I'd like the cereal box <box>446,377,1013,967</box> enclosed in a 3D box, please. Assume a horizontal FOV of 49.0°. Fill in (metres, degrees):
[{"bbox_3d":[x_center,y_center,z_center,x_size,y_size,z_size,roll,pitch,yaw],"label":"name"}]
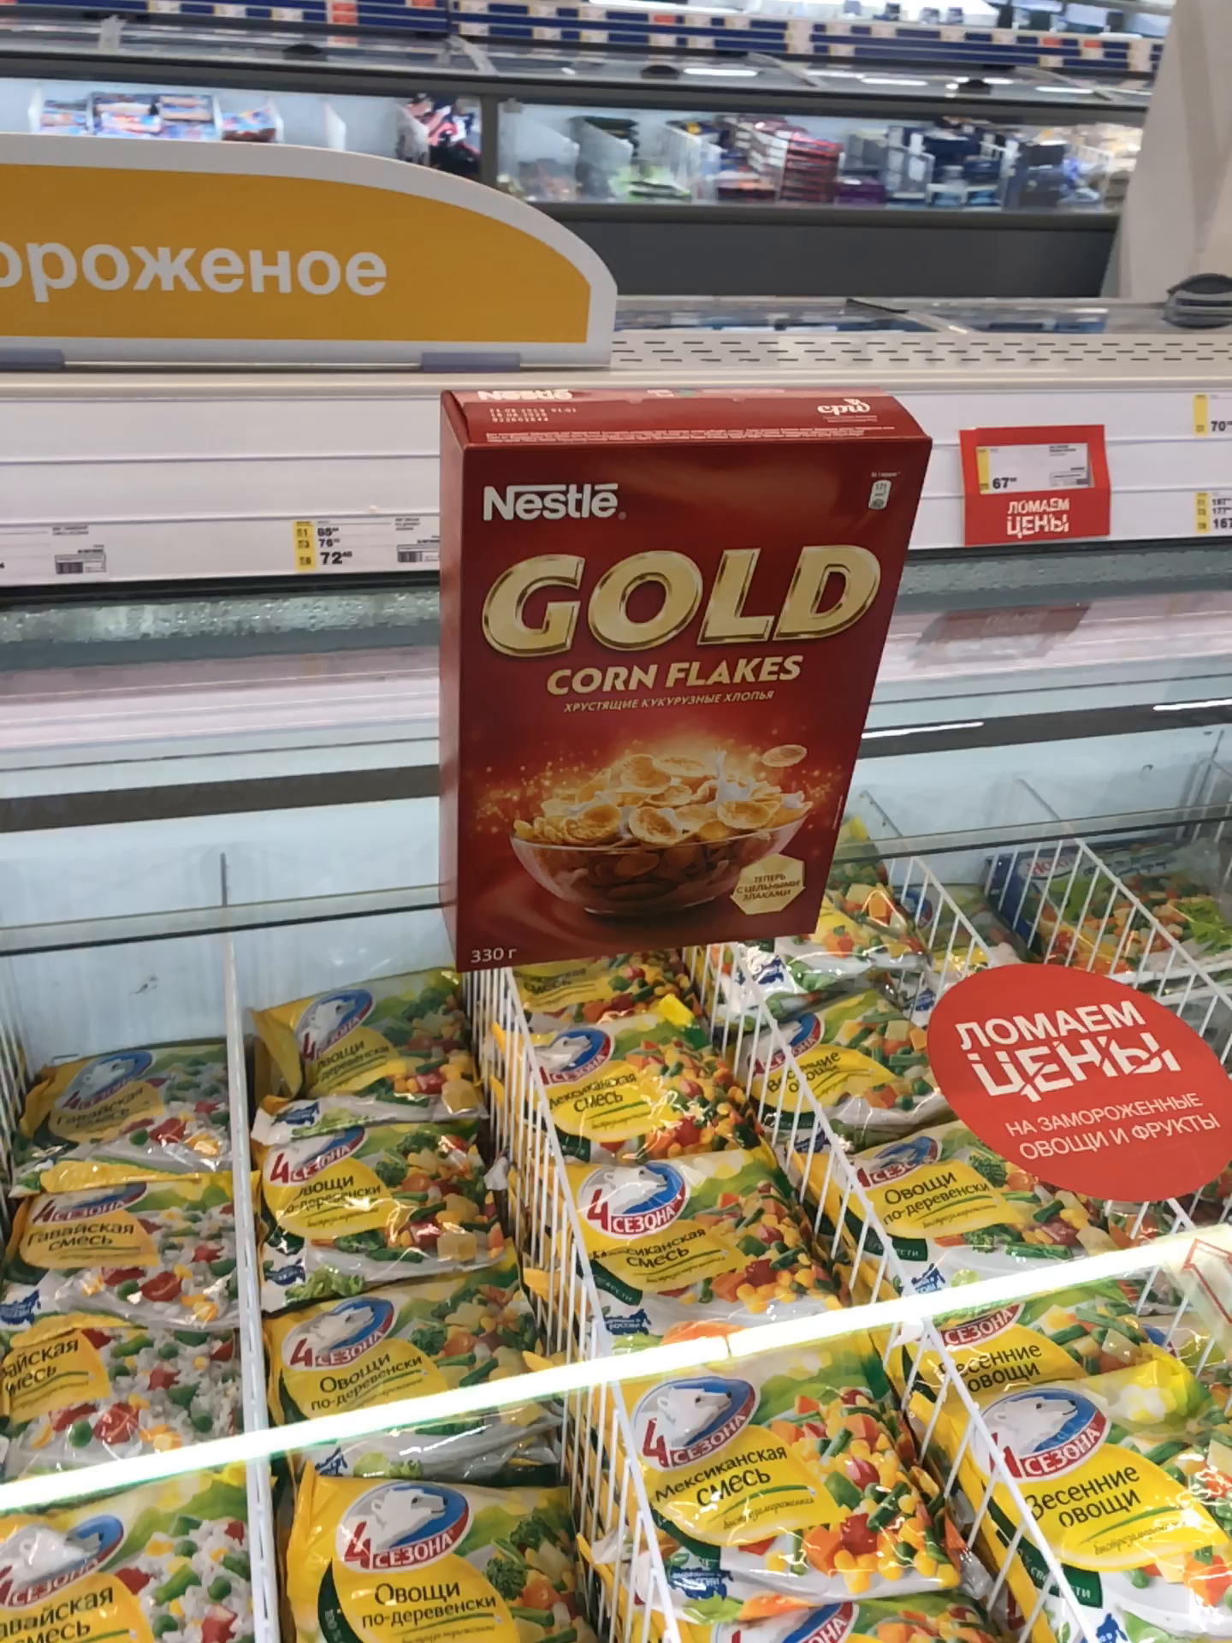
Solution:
[{"bbox_3d":[0.035,-0.060,0.604,0.210,0.258,0.060,-5,39,-14],"label":"cereal box"}]
